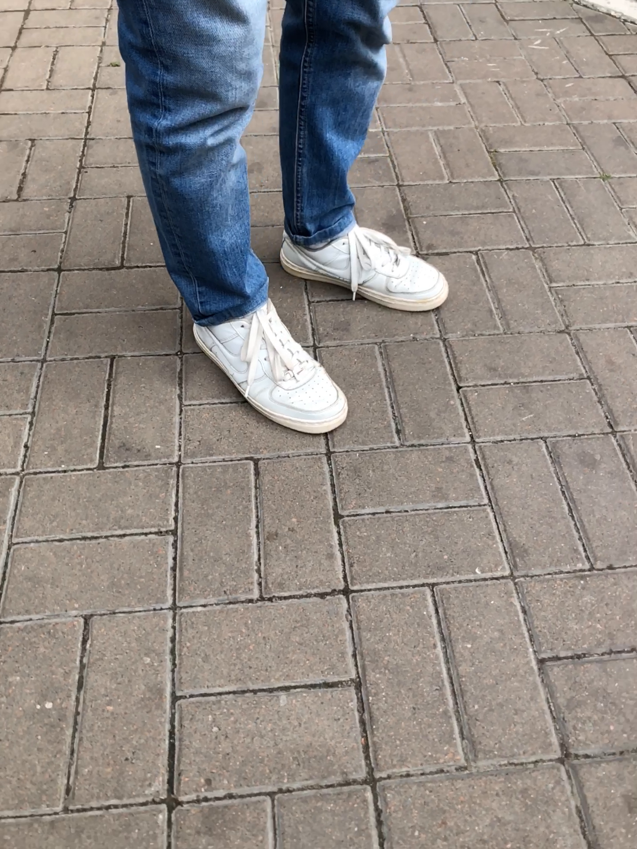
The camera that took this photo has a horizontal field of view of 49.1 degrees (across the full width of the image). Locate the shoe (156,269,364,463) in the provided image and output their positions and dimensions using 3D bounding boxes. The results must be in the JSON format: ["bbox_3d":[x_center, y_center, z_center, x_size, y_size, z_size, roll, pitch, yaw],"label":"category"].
[{"bbox_3d":[-0.086,-0.092,0.979,0.120,0.070,0.301,-36,61,-24],"label":"shoe"}]

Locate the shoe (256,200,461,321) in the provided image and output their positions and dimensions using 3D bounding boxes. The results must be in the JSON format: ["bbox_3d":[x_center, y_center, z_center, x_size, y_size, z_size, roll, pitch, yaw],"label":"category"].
[{"bbox_3d":[0.063,-0.265,1.114,0.300,0.070,0.111,17,55,13],"label":"shoe"}]
